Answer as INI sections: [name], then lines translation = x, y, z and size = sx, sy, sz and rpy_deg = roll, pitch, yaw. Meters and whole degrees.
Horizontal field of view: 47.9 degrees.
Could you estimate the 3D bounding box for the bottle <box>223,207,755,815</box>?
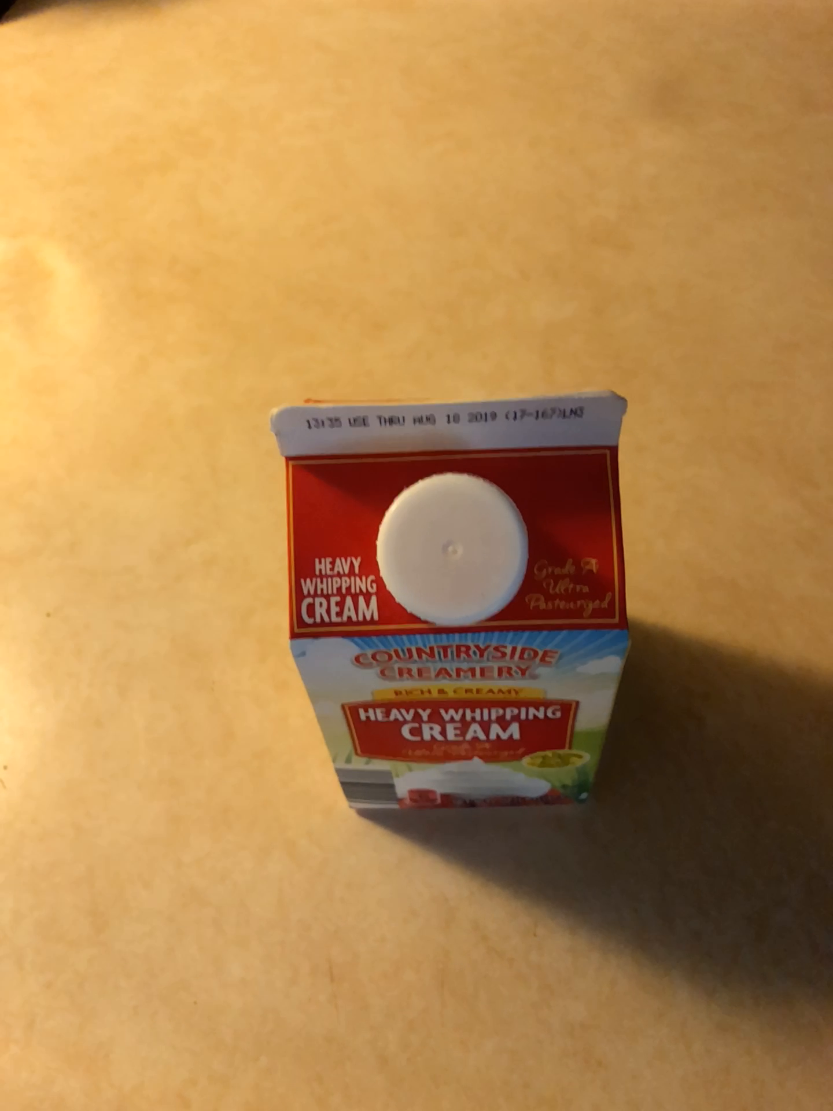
[bottle]
translation = 0.016, -0.002, 0.238
size = 0.090, 0.130, 0.090
rpy_deg = -2, 55, 3
